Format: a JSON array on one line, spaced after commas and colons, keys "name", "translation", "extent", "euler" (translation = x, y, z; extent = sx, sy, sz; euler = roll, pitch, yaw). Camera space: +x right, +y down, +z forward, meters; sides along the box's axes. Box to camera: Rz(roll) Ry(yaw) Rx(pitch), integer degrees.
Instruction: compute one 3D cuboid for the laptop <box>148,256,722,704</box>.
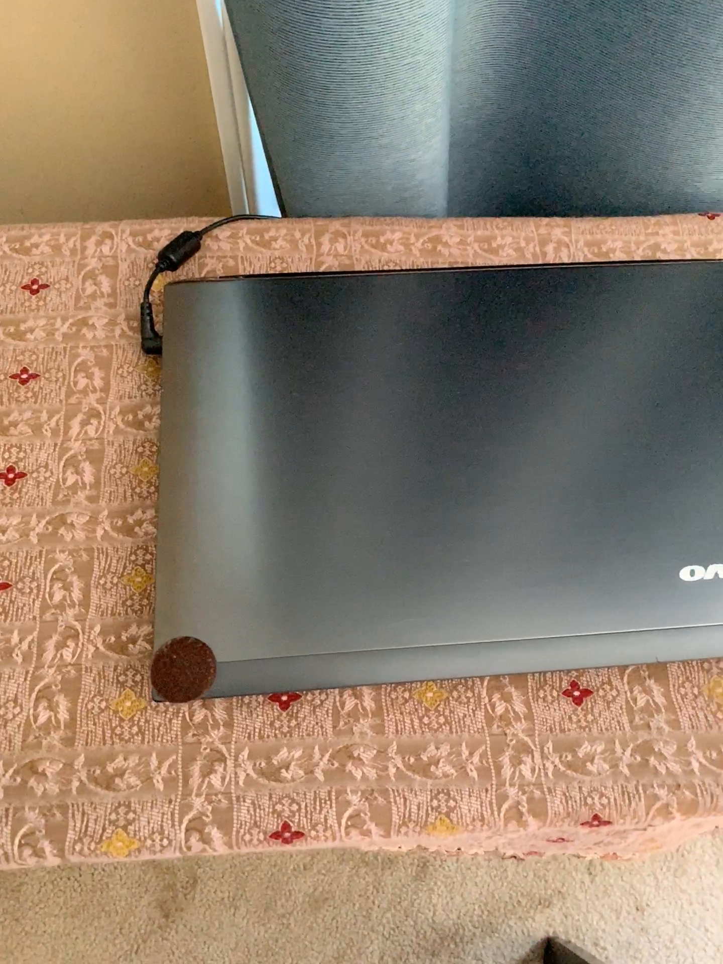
[{"name": "laptop", "translation": [0.075, -0.015, 0.389], "extent": [0.356, 0.011, 0.223], "euler": [-4, 68, -3]}]
